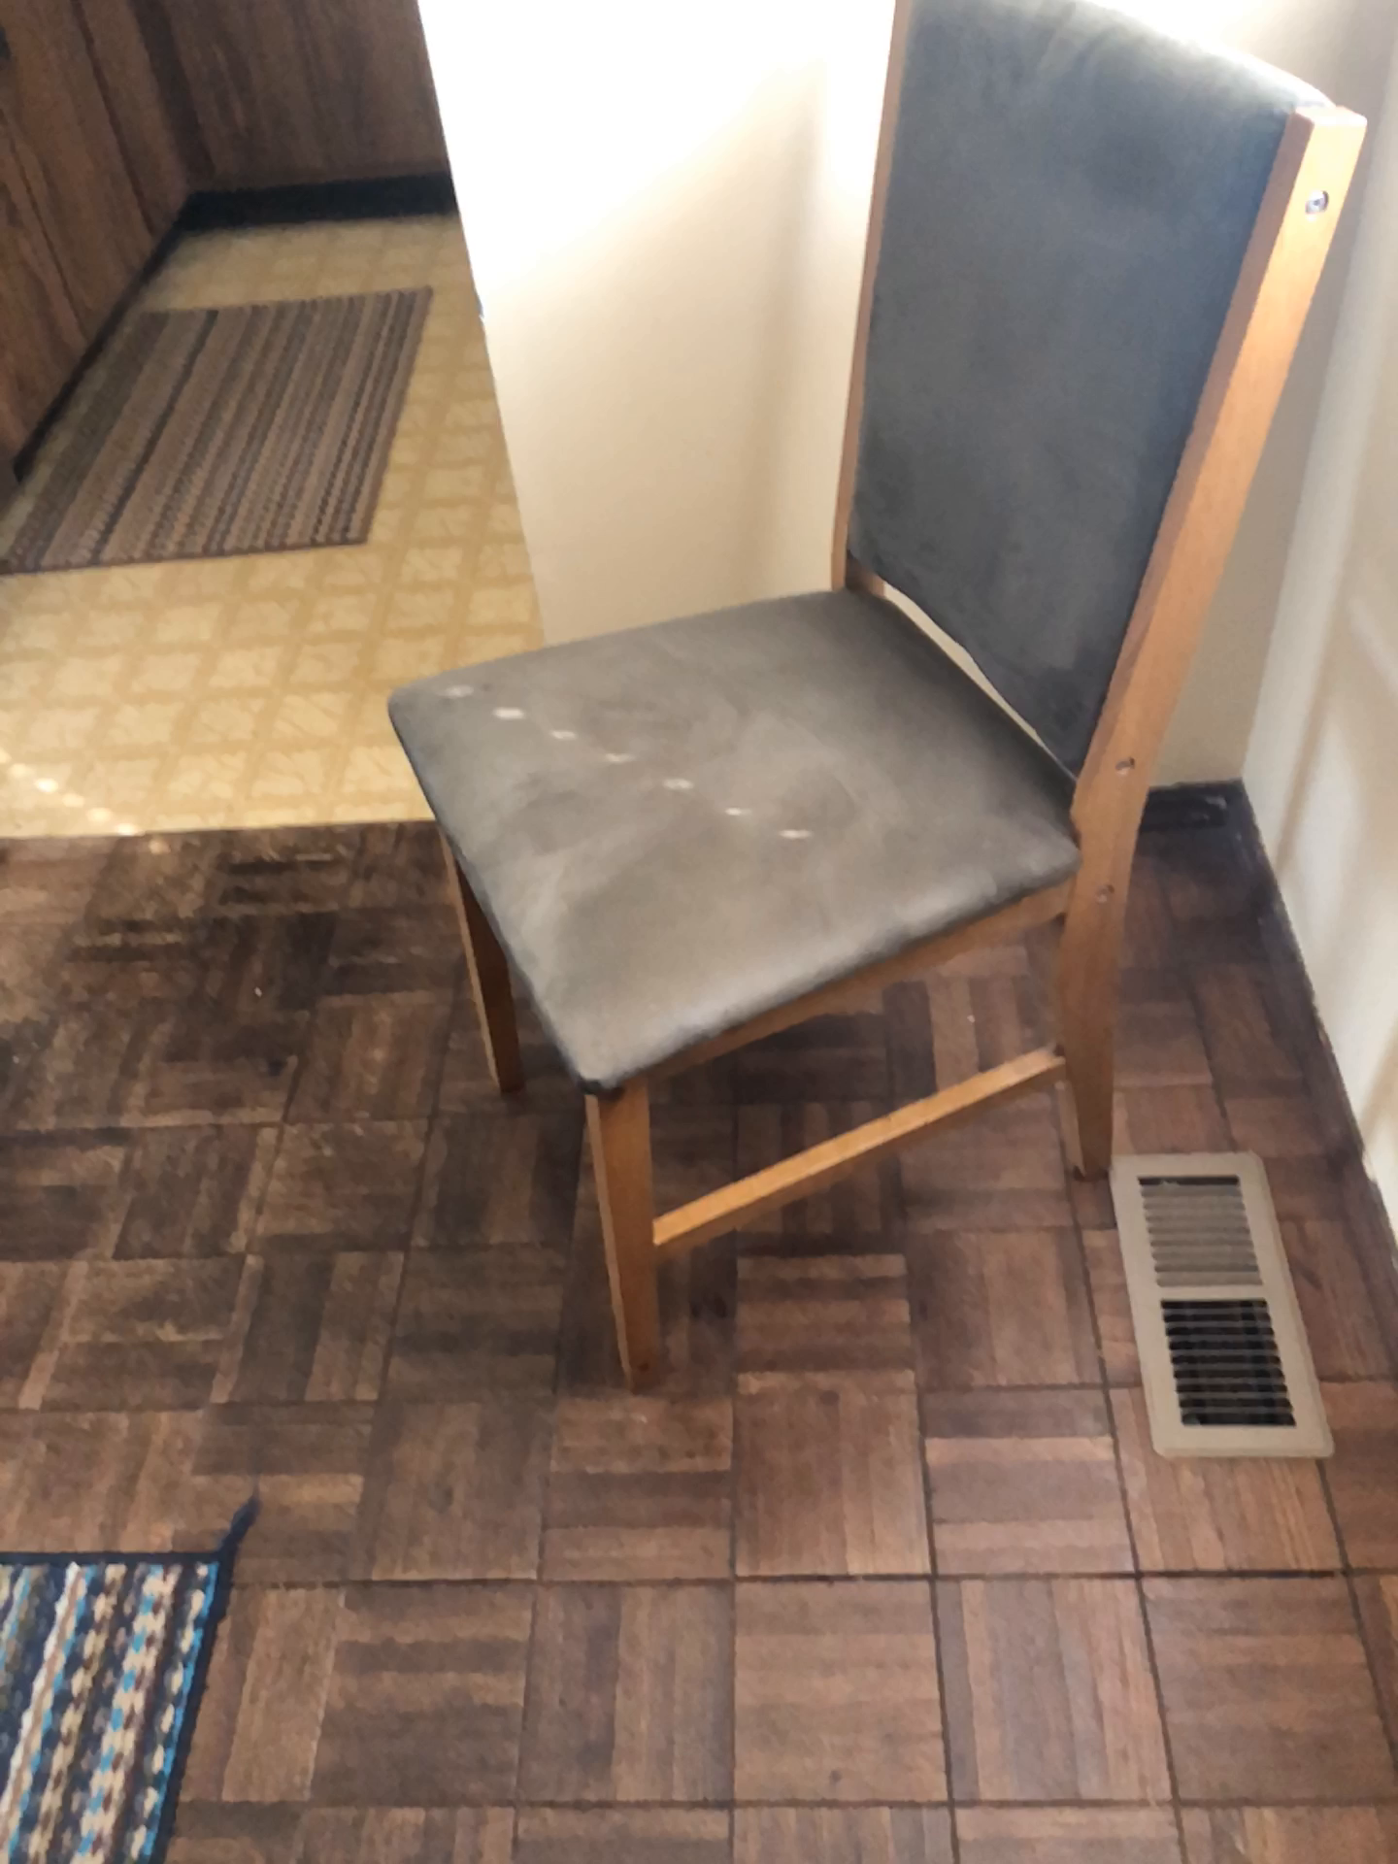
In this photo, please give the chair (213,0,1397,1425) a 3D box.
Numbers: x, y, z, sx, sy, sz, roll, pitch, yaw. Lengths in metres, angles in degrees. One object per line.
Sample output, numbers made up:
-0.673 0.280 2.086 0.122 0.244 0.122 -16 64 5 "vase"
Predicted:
0.056 -0.158 1.119 0.510 0.858 0.491 -18 46 -16 "chair"
